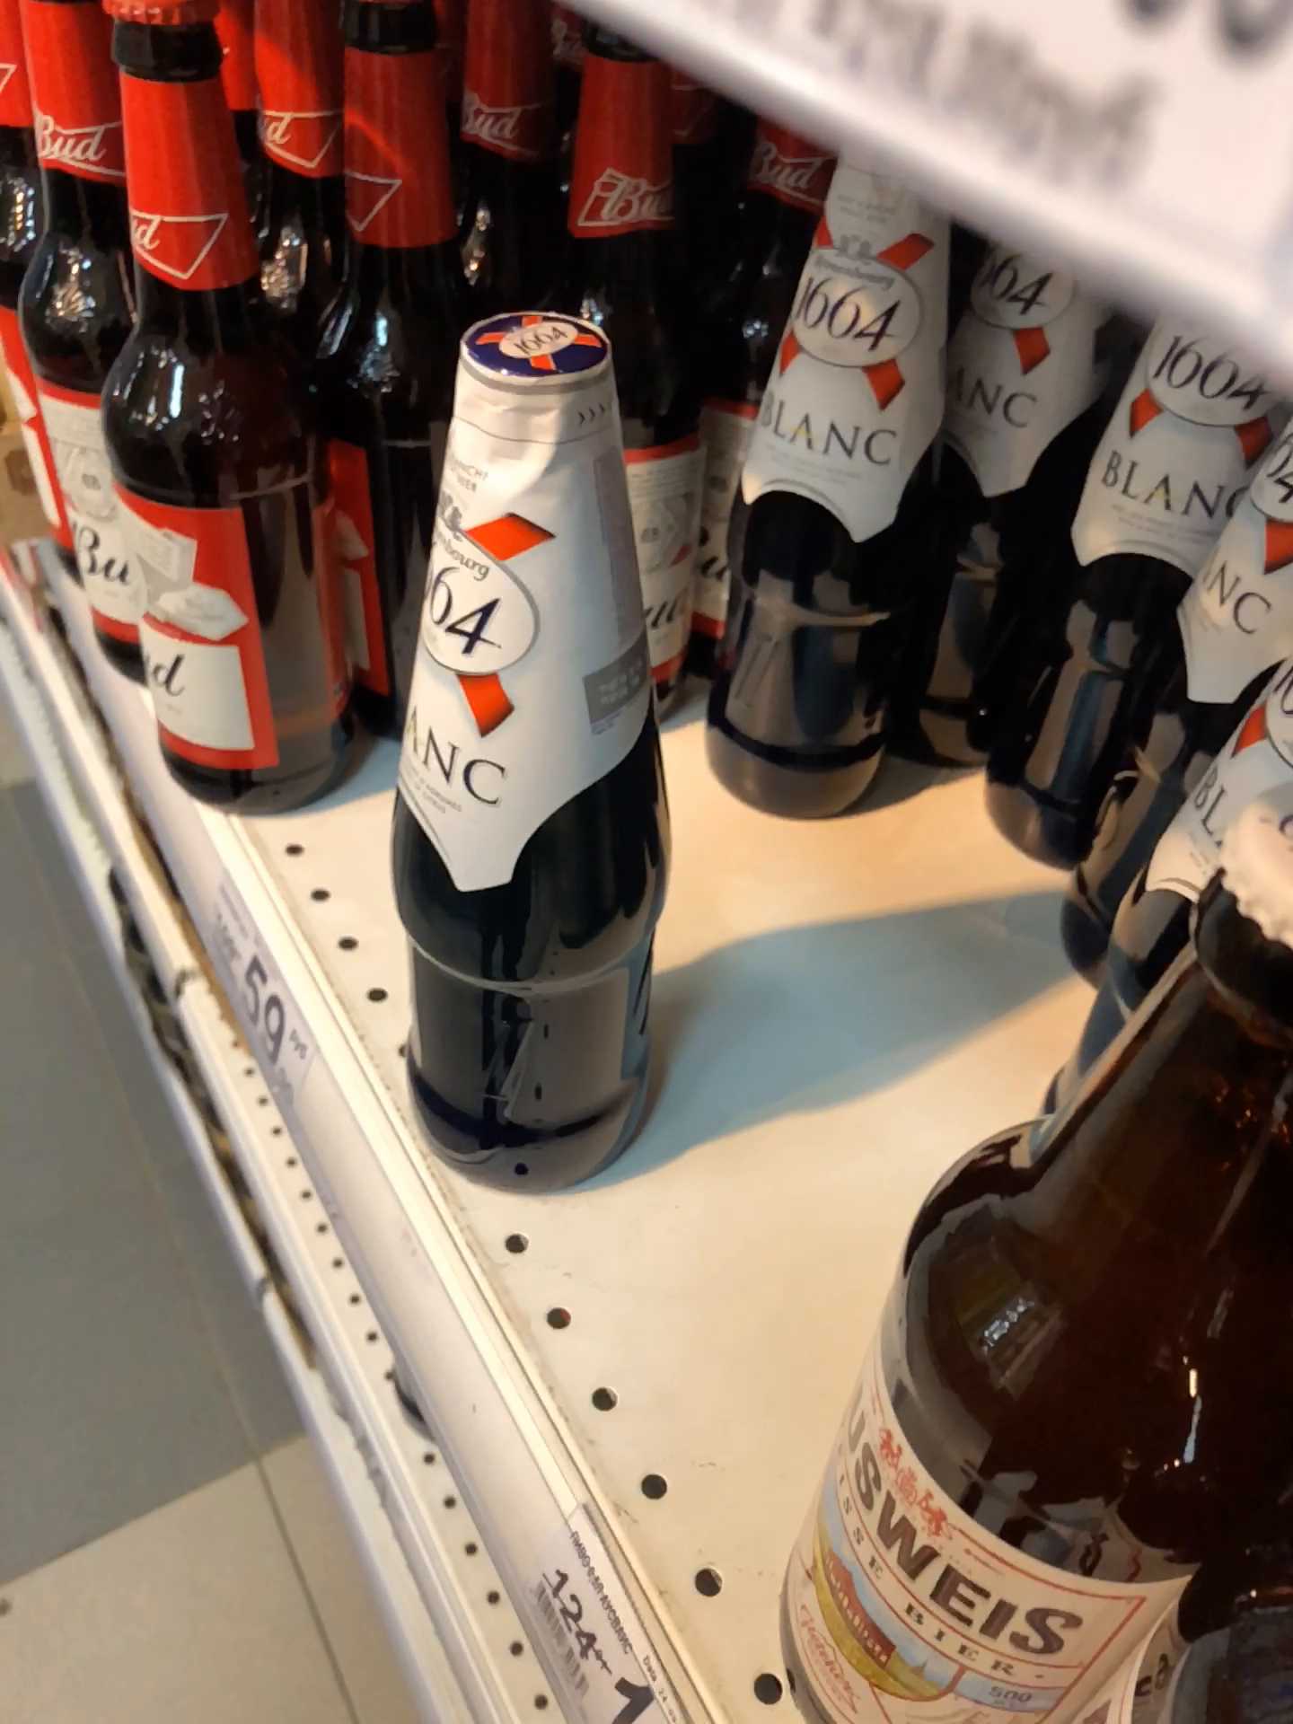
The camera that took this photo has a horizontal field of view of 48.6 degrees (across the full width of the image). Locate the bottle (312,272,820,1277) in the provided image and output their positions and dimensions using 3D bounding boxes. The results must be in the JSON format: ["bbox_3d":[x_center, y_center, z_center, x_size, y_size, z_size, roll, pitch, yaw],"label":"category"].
[{"bbox_3d":[-0.023,-0.007,0.349,0.070,0.234,0.080,-16,47,-20],"label":"bottle"}]
